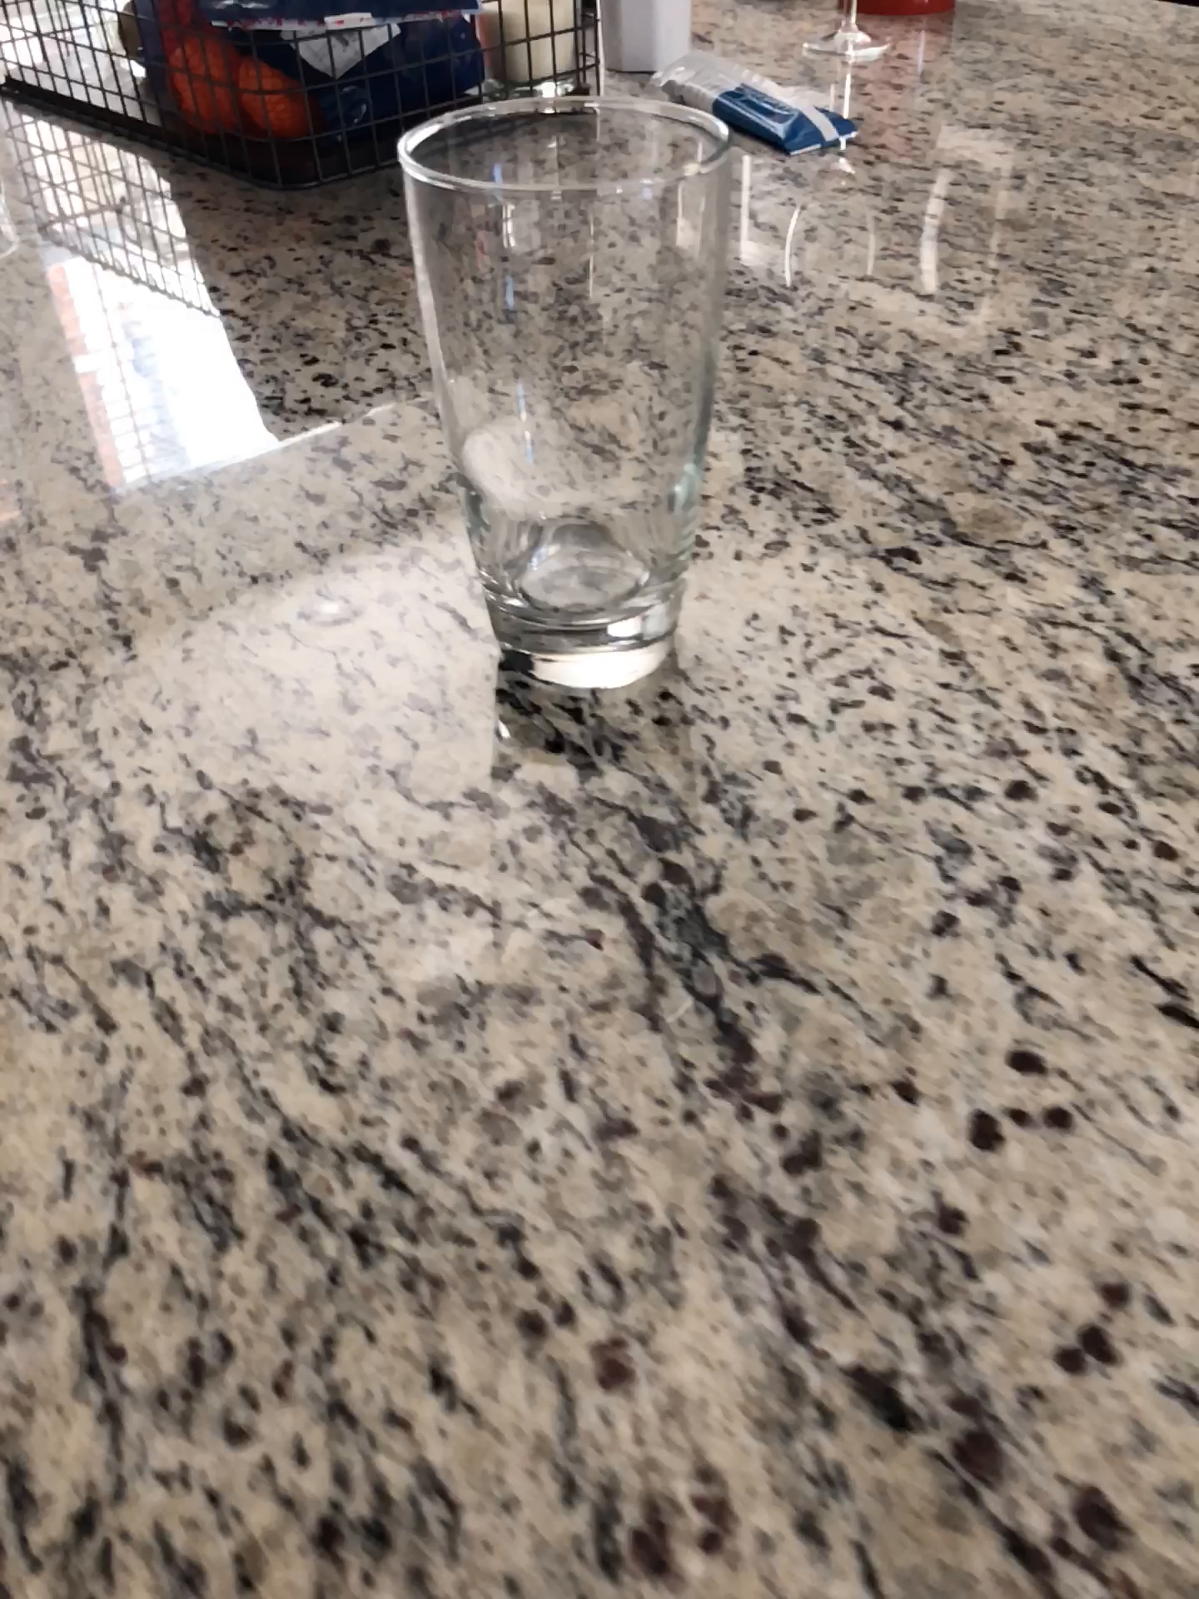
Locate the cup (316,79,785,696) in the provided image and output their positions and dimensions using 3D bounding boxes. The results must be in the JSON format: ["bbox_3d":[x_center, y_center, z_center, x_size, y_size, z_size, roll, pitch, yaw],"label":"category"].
[{"bbox_3d":[-0.005,-0.112,0.361,0.100,0.129,0.101,-1,40,1],"label":"cup"}]
